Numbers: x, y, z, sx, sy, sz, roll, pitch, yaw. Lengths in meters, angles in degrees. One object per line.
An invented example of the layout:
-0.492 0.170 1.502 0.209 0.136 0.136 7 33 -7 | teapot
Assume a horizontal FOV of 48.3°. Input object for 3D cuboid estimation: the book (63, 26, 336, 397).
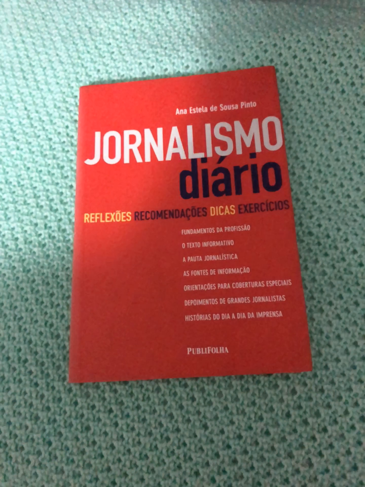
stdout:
0.002 -0.029 0.288 0.160 0.030 0.250 -5 73 7 | book
